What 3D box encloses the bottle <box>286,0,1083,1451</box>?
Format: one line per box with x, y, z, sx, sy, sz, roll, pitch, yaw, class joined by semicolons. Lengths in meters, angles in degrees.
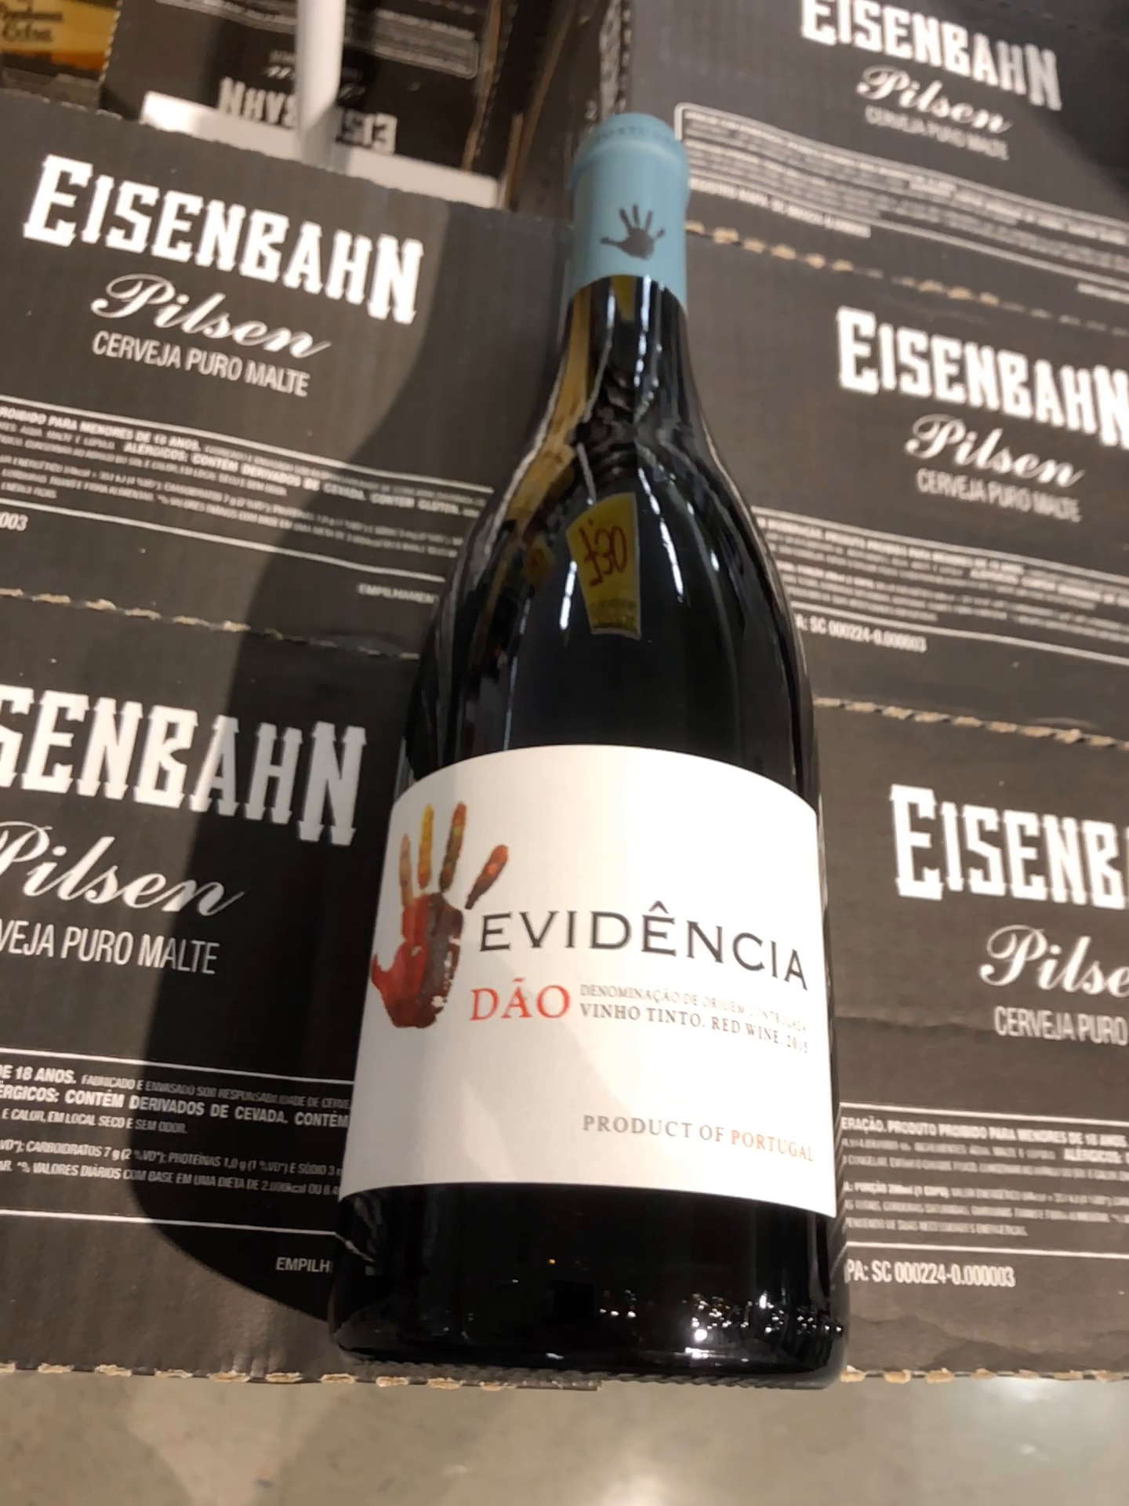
0.018;-0.050;0.263;0.100;0.090;0.331;8;66;-11;bottle
